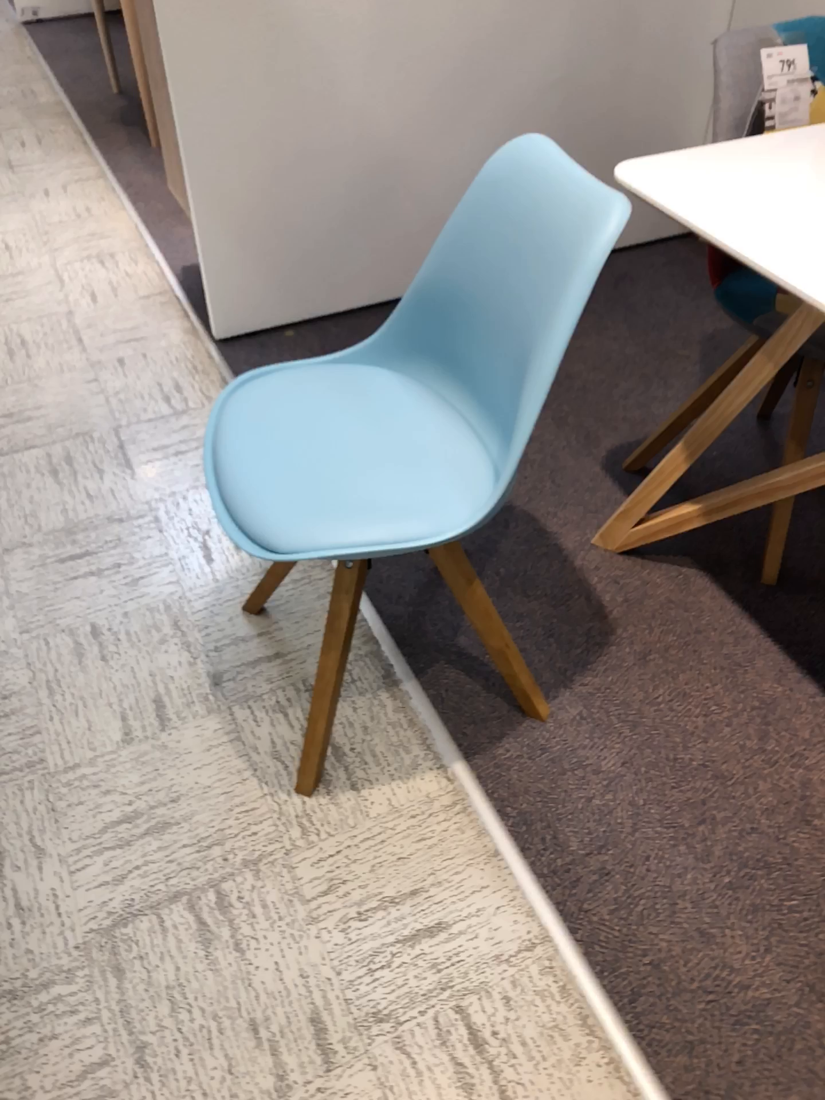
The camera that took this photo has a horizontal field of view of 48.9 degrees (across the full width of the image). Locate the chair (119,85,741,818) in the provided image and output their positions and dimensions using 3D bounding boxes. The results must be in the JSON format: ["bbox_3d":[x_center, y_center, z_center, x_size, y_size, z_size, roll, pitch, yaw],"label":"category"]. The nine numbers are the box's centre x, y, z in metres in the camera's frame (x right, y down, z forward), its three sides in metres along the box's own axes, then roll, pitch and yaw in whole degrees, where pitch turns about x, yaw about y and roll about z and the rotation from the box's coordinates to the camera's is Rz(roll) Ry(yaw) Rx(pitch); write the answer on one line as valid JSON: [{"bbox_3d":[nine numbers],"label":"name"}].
[{"bbox_3d":[-0.016,-0.140,1.322,0.561,0.795,0.542,-15,45,-15],"label":"chair"}]
